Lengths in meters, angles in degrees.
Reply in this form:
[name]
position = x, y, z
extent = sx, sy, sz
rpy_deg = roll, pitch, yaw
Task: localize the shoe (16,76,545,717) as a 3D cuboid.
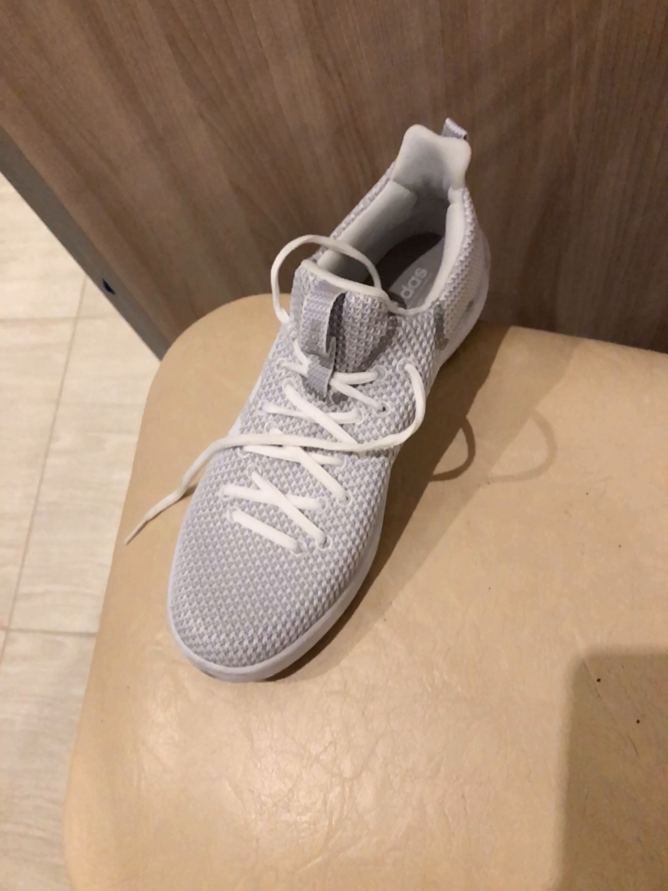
[shoe]
position = -0.006, -0.025, 0.396
extent = 0.110, 0.130, 0.301
rpy_deg = 25, 75, 19
